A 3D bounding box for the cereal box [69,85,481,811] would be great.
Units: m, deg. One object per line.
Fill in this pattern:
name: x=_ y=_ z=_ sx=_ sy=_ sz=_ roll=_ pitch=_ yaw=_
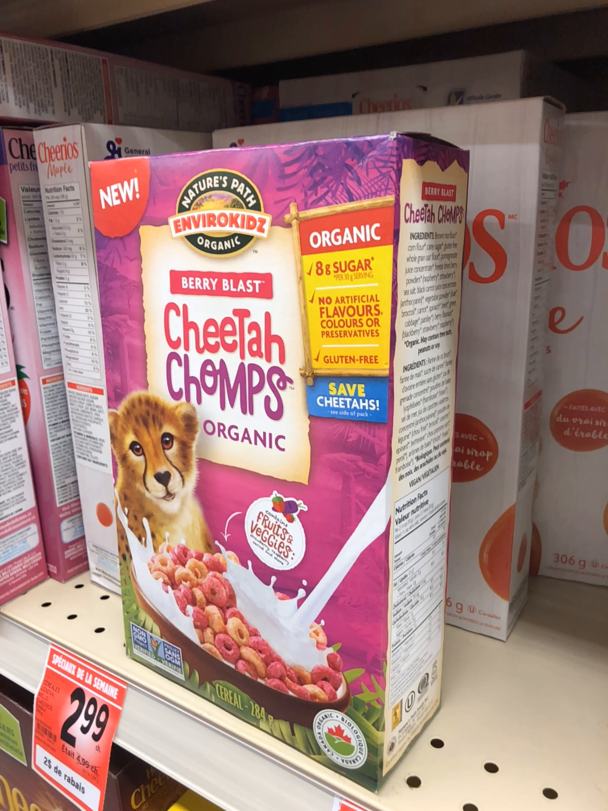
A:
cereal box: x=-0.018 y=0.011 z=0.305 sx=0.160 sy=0.259 sz=0.070 roll=10 pitch=17 yaw=36
